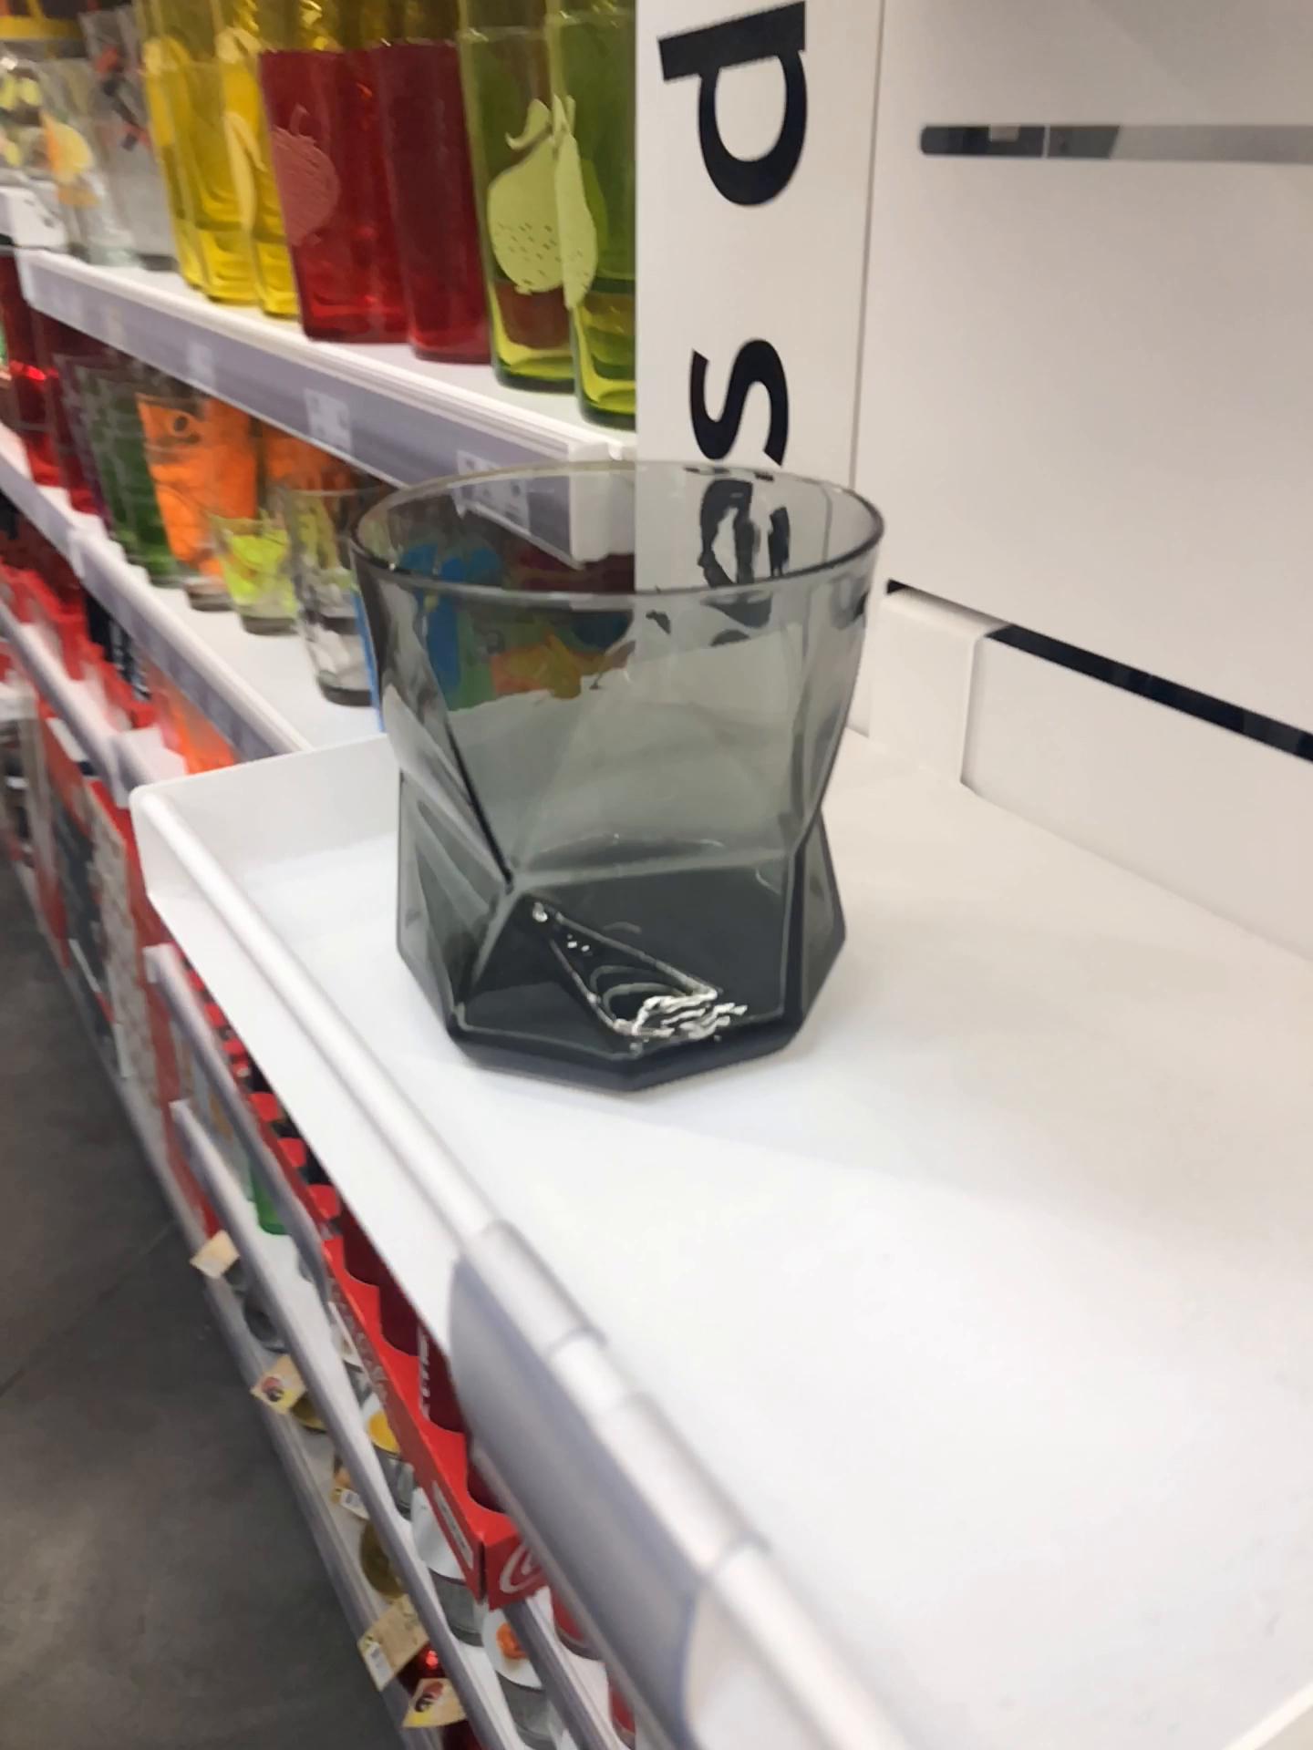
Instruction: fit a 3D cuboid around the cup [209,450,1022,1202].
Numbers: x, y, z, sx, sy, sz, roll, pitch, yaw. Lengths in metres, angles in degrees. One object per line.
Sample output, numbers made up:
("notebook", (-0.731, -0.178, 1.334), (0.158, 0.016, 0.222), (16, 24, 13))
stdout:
("cup", (-0.005, -0.018, 0.247), (0.093, 0.080, 0.089), (0, 28, 0))
